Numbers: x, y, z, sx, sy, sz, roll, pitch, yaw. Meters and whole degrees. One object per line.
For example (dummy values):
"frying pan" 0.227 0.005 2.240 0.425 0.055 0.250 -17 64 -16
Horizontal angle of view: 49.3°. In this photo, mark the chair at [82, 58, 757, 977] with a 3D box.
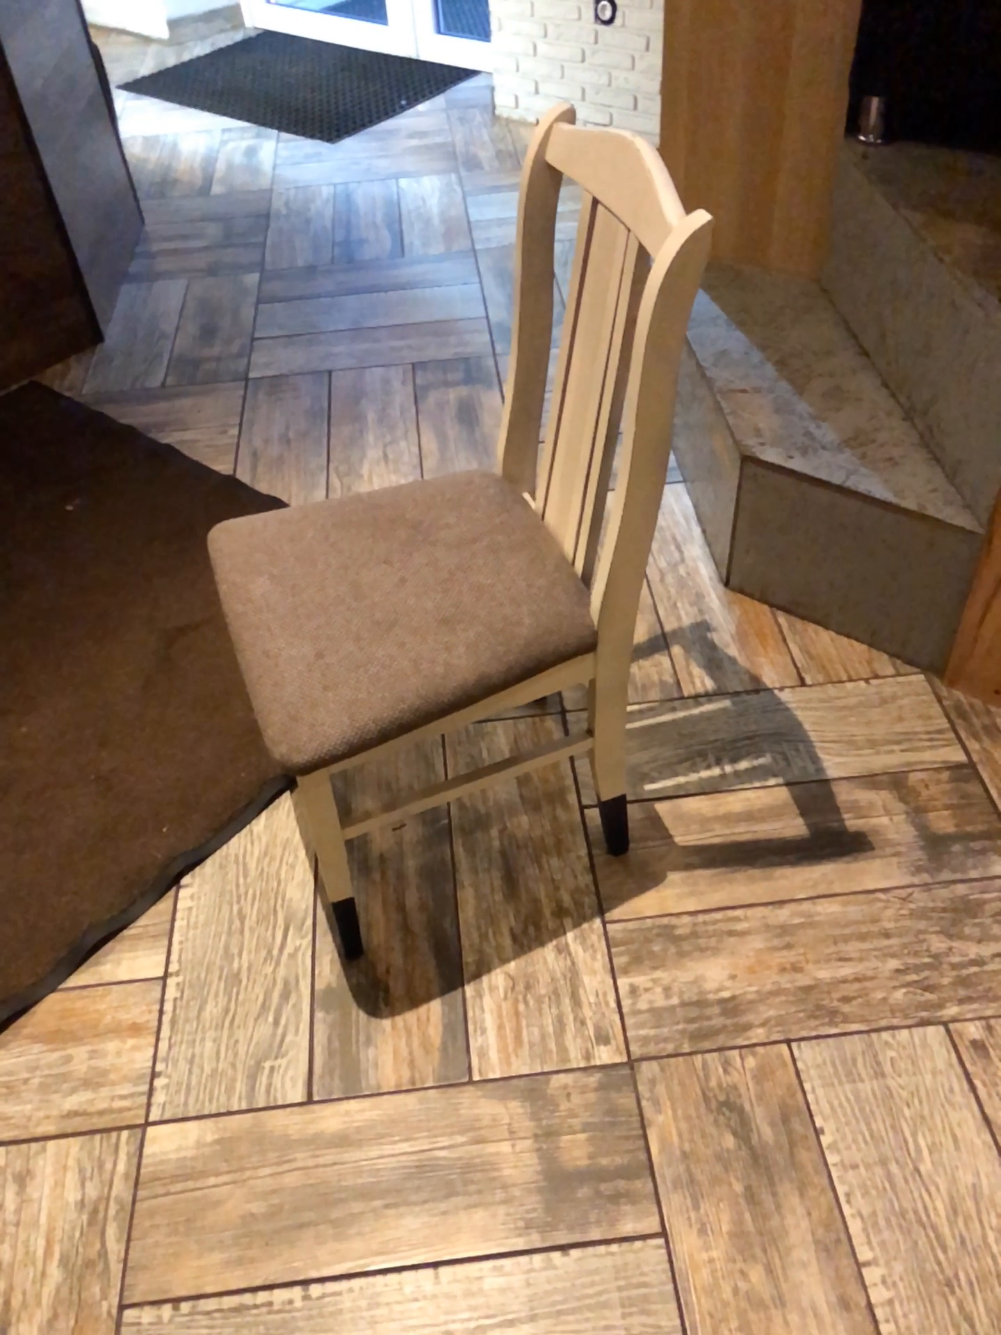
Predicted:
"chair" -0.095 -0.146 1.341 0.519 0.916 0.481 -15 45 -13
